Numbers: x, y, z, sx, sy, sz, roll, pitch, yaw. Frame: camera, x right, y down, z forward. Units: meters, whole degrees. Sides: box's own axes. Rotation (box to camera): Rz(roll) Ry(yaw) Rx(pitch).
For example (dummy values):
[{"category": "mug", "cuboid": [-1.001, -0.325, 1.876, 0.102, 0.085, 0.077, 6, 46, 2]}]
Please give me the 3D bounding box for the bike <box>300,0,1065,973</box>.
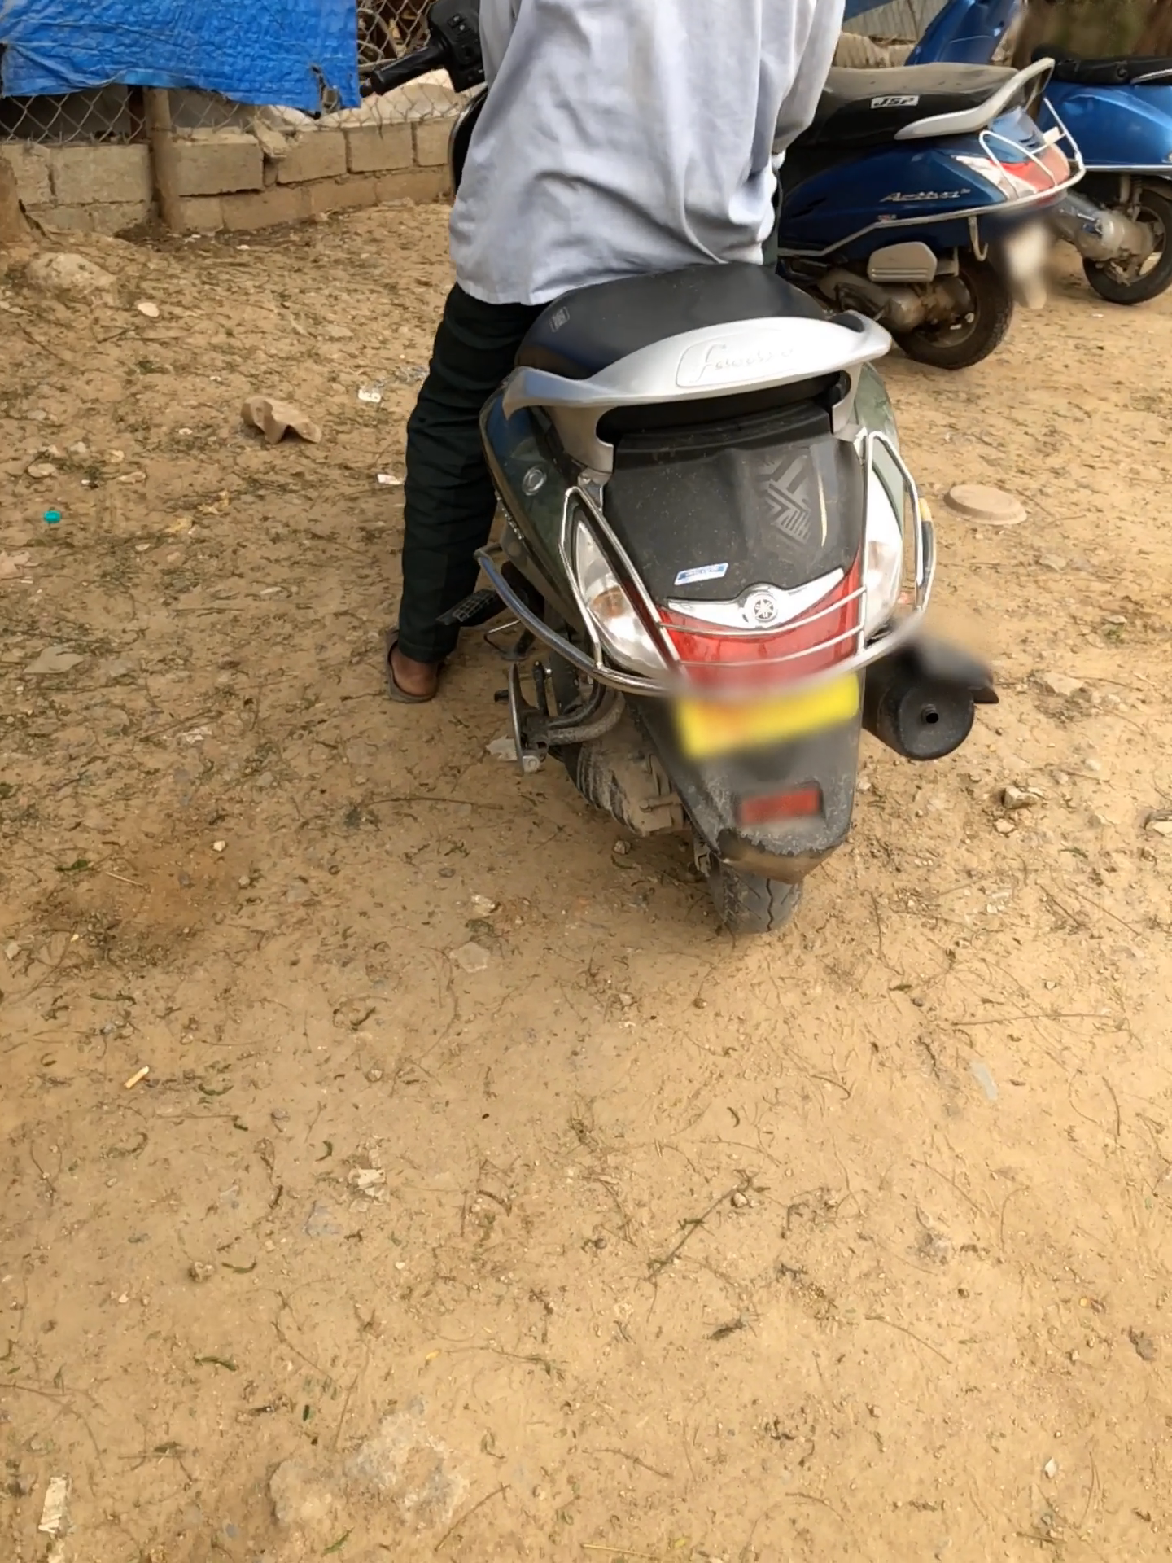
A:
[{"category": "bike", "cuboid": [-0.086, -0.742, 1.988, 0.623, 1.054, 1.731, -3, 37, -9]}]
